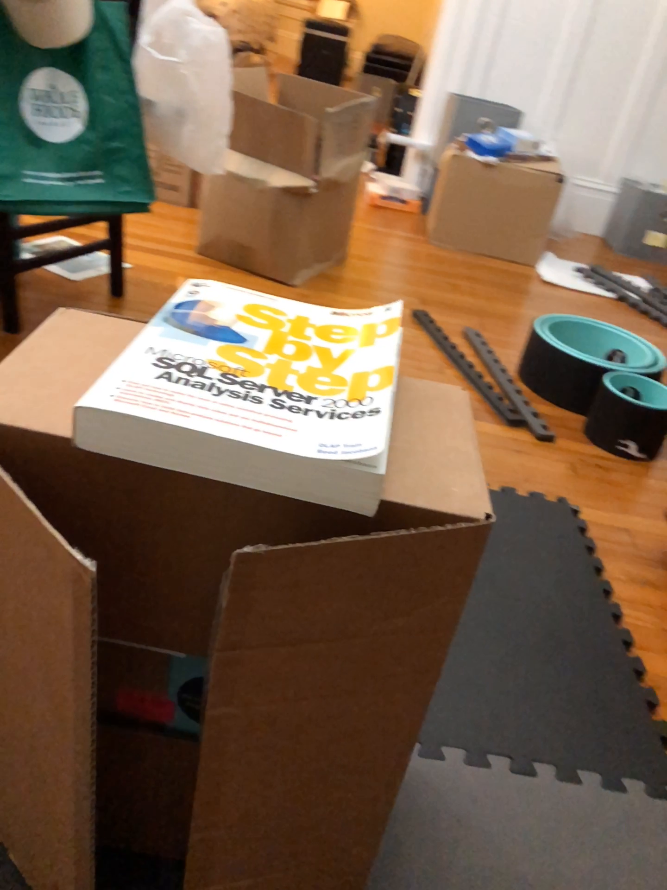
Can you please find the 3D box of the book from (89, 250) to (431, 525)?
[{"bbox_3d":[-0.042,-0.057,0.543,0.200,0.050,0.242,12,33,-6],"label":"book"}]
